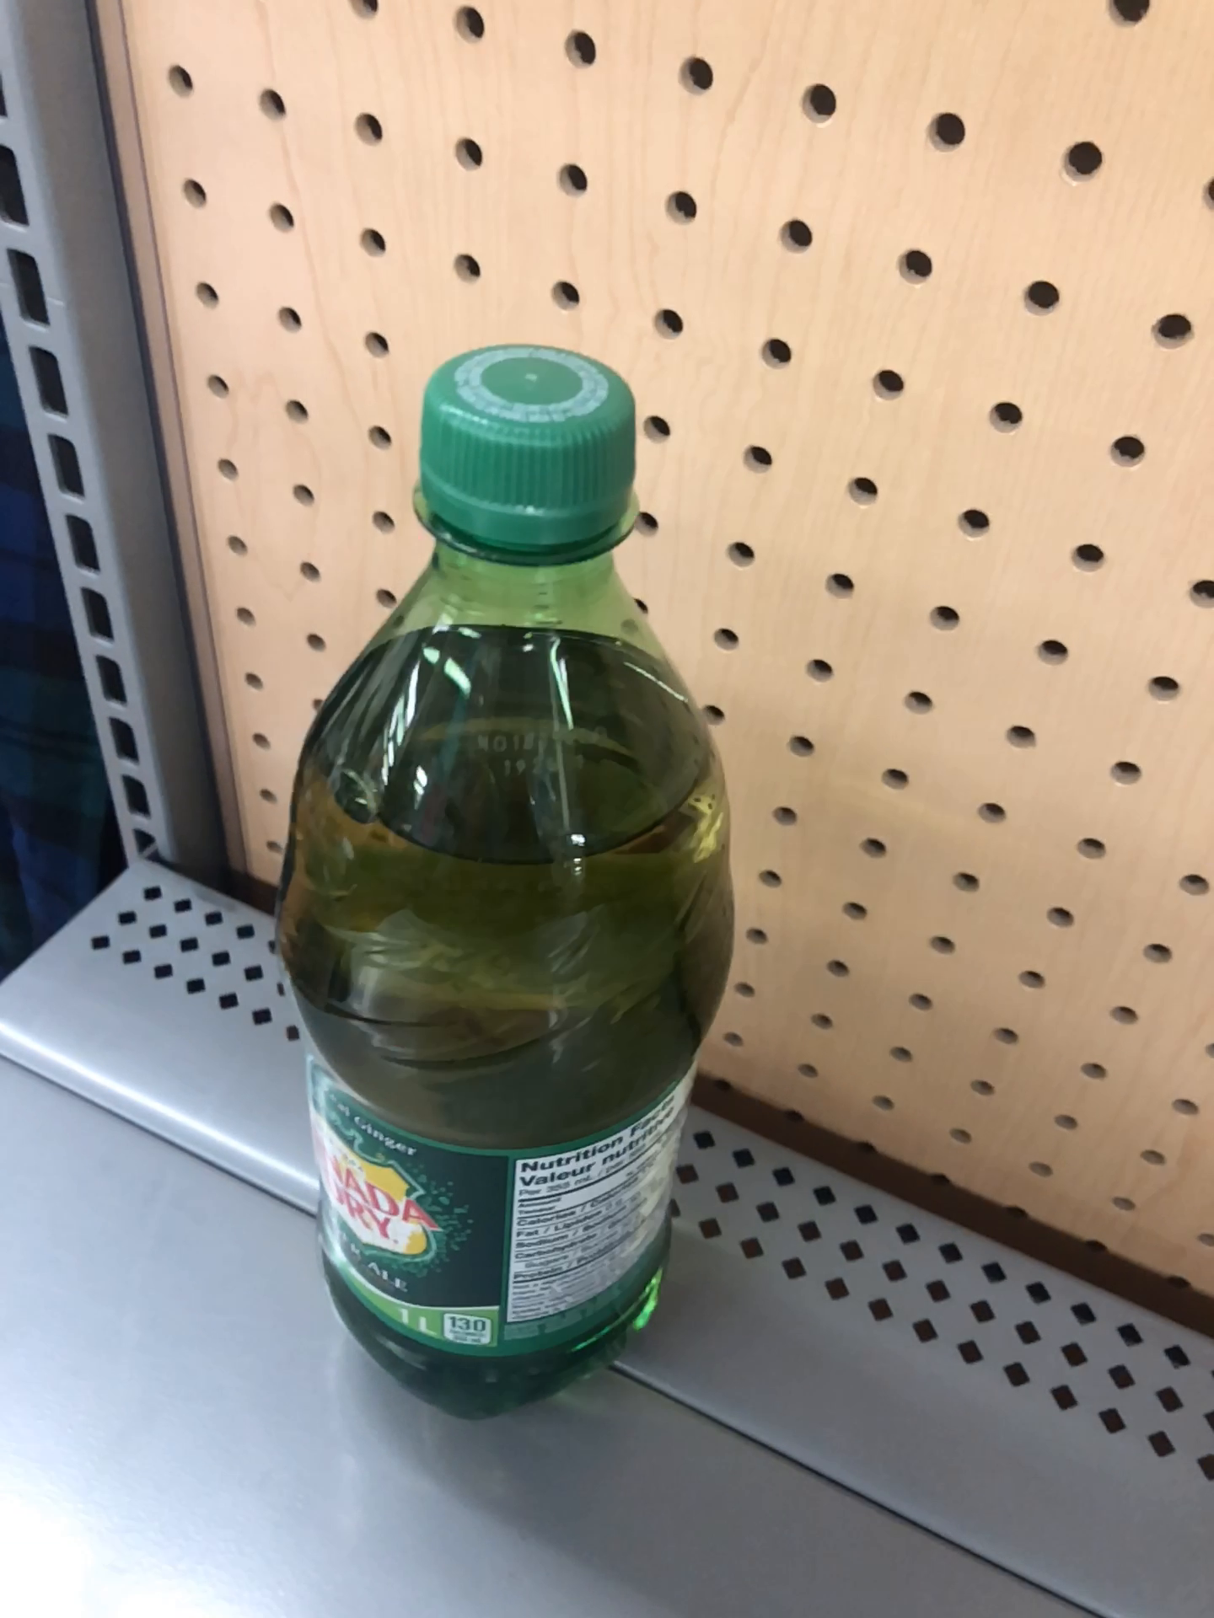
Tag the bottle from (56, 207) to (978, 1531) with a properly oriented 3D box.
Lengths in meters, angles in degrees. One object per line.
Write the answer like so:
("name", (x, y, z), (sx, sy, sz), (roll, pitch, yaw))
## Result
("bottle", (-0.022, 0.030, 0.269), (0.090, 0.248, 0.090), (3, 43, -3))
